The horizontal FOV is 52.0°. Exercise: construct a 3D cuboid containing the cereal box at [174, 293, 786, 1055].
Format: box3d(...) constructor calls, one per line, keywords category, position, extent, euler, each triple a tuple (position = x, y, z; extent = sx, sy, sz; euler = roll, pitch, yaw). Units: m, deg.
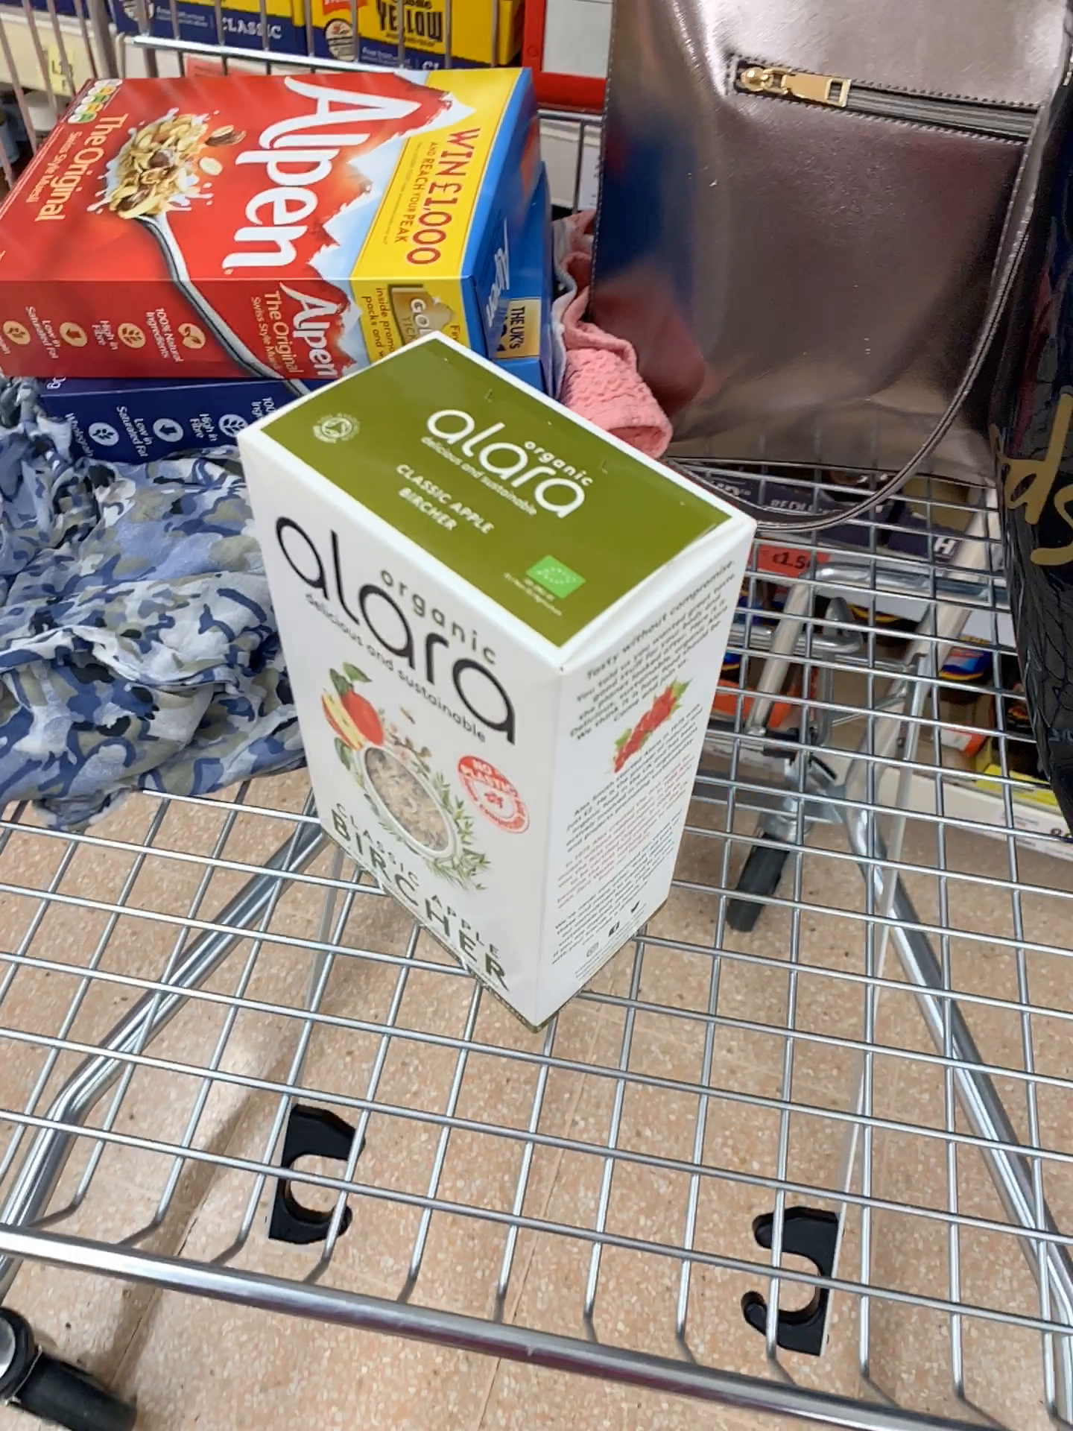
box3d(category="cereal box", position=(-0.018, -0.003, 0.324), extent=(0.120, 0.179, 0.080), euler=(38, 59, 24))
